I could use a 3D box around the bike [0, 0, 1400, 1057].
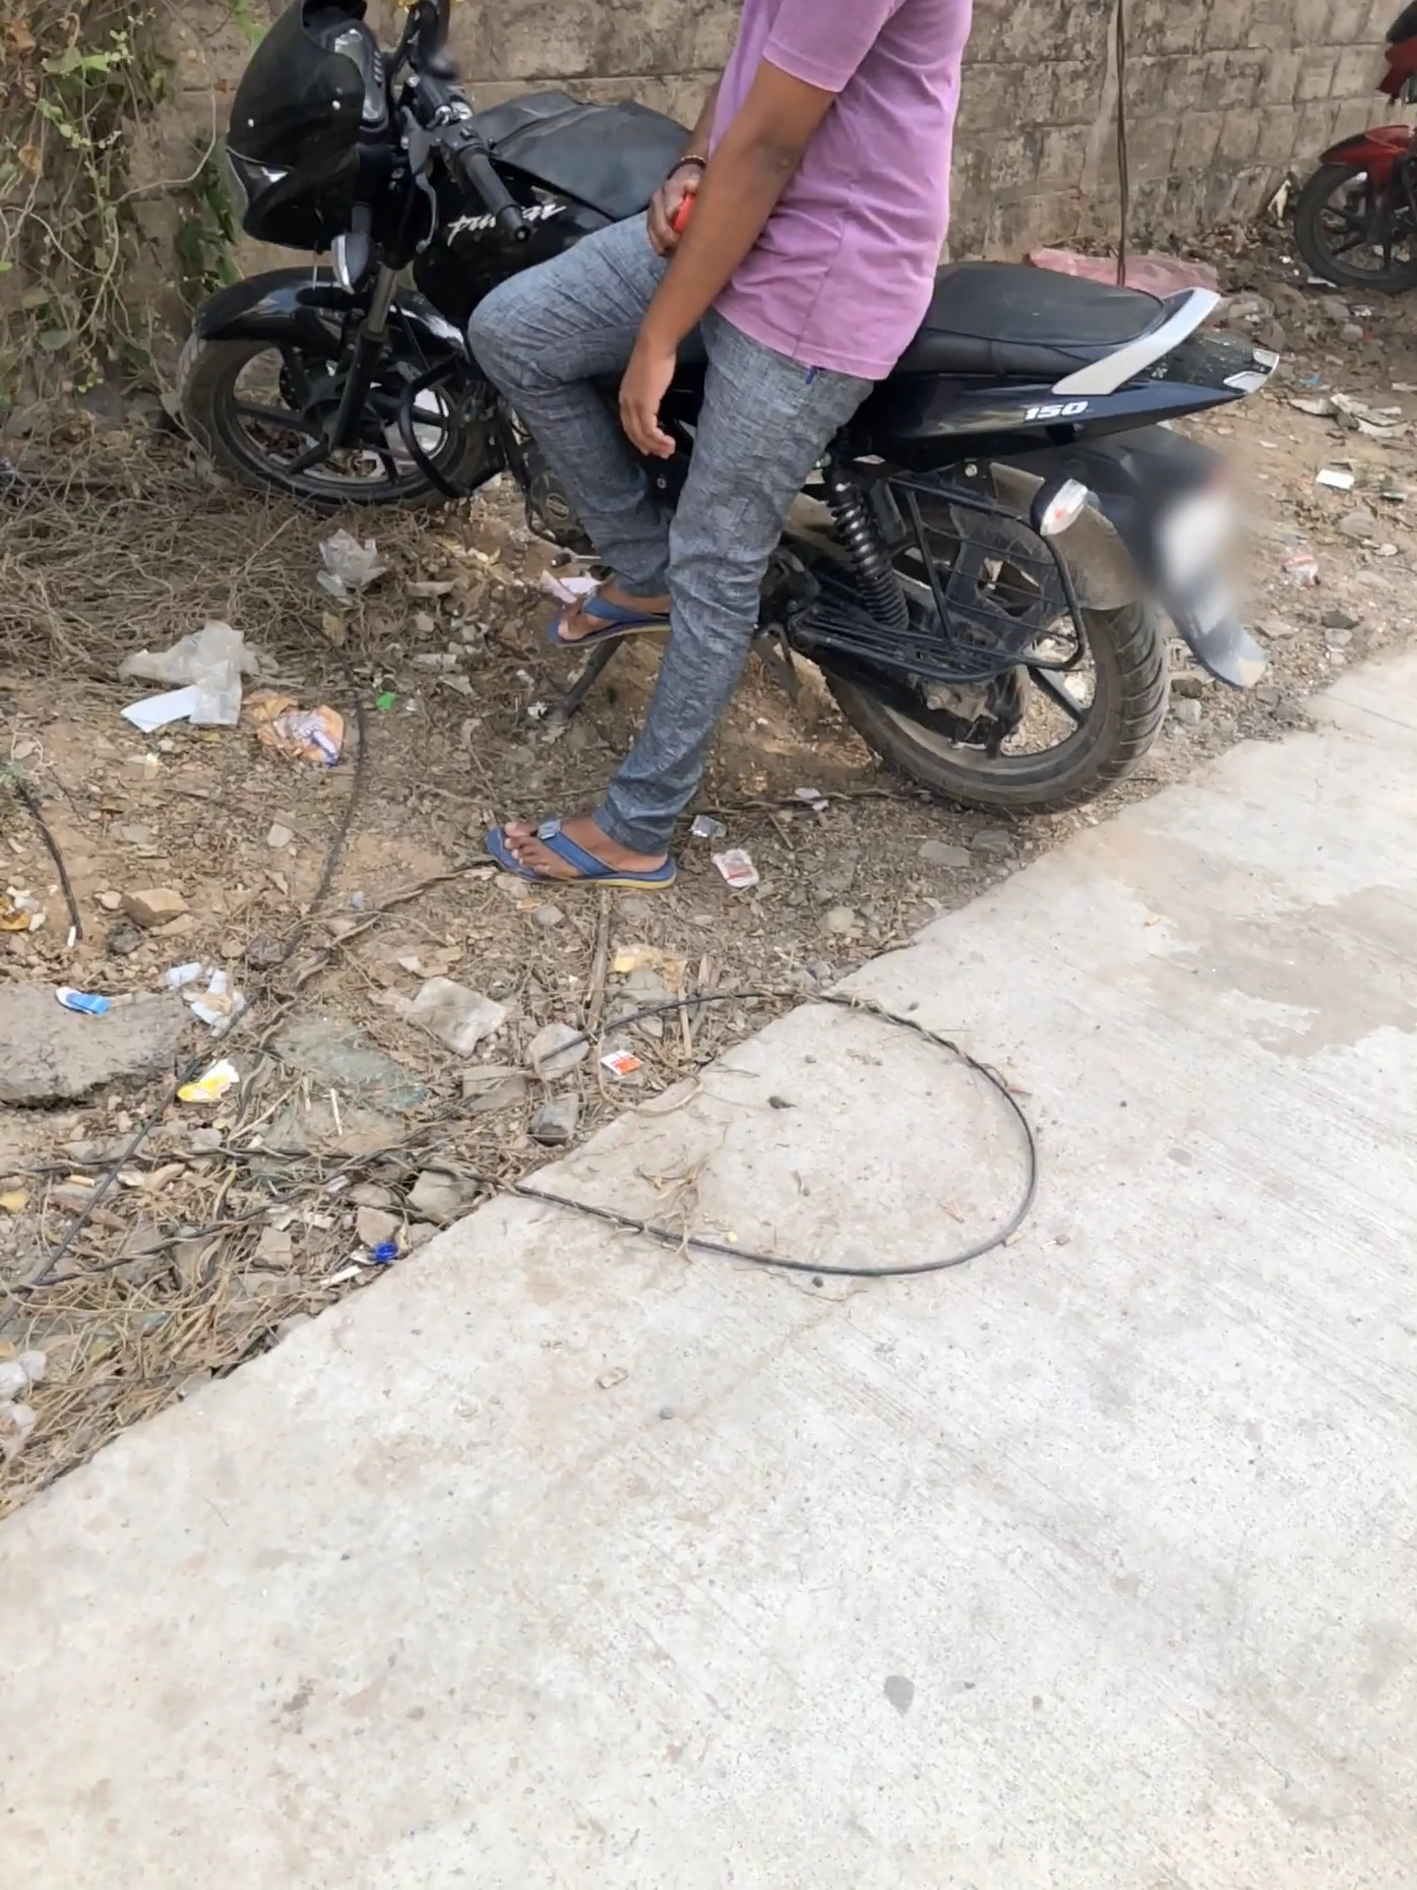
[{"bbox_3d":[-0.174,-0.851,2.287,1.811,1.214,0.819,21,38,17],"label":"bike"}]
